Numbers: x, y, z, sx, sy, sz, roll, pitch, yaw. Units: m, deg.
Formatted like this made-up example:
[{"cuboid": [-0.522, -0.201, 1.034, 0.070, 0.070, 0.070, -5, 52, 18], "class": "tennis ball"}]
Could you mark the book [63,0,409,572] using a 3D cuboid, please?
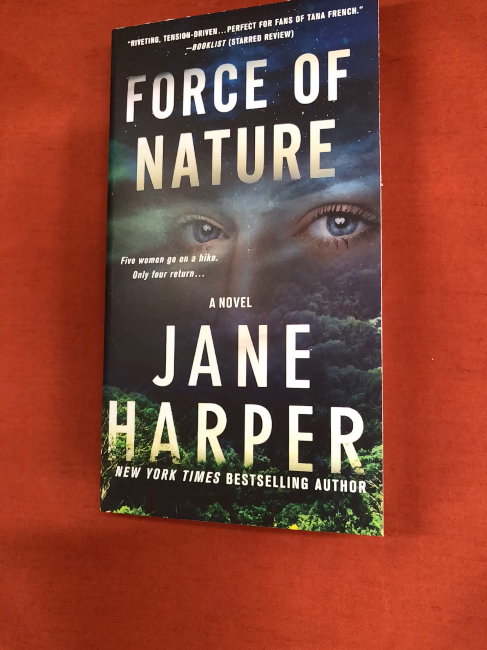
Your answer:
[{"cuboid": [0.000, -0.015, 0.199, 0.110, 0.050, 0.180, -1, 92, 14], "class": "book"}]
